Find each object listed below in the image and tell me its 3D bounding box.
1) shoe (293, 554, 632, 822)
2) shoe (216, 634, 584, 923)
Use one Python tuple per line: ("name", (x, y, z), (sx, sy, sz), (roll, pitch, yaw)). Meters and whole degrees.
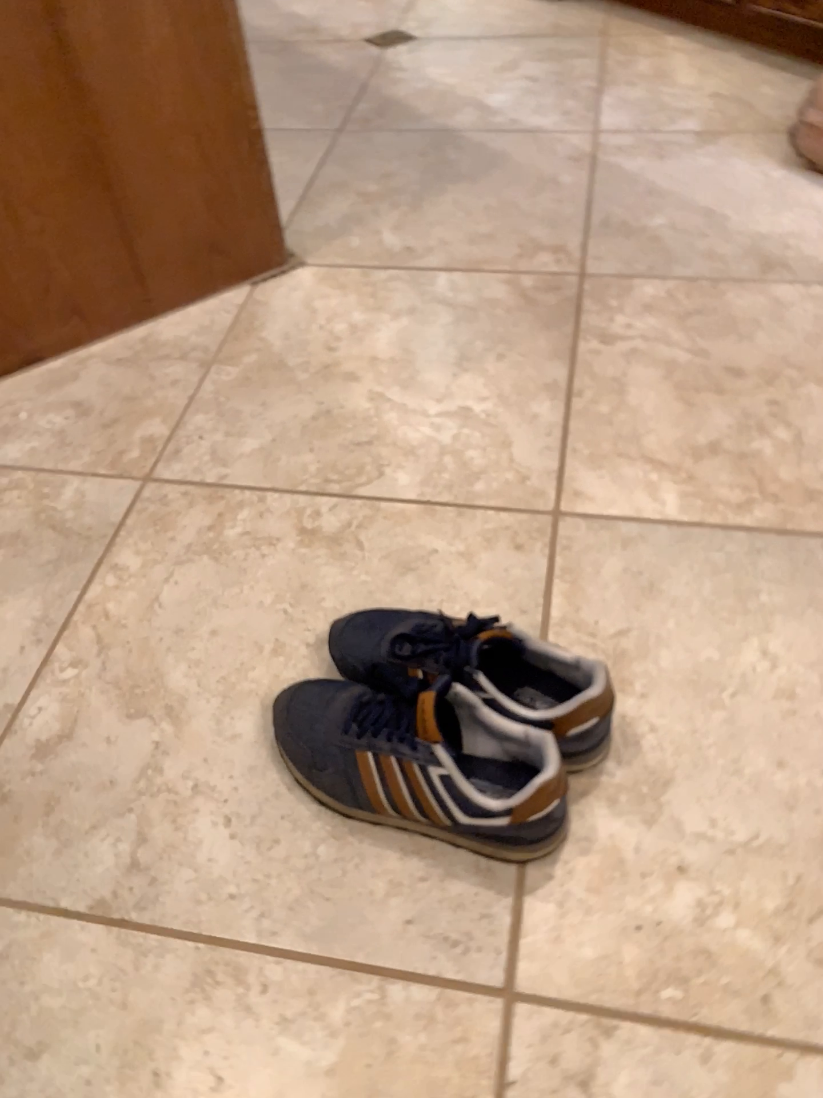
("shoe", (0.044, 0.122, 0.787), (0.283, 0.102, 0.107), (21, 53, 23))
("shoe", (-0.009, 0.191, 0.732), (0.283, 0.102, 0.112), (18, 52, 20))
